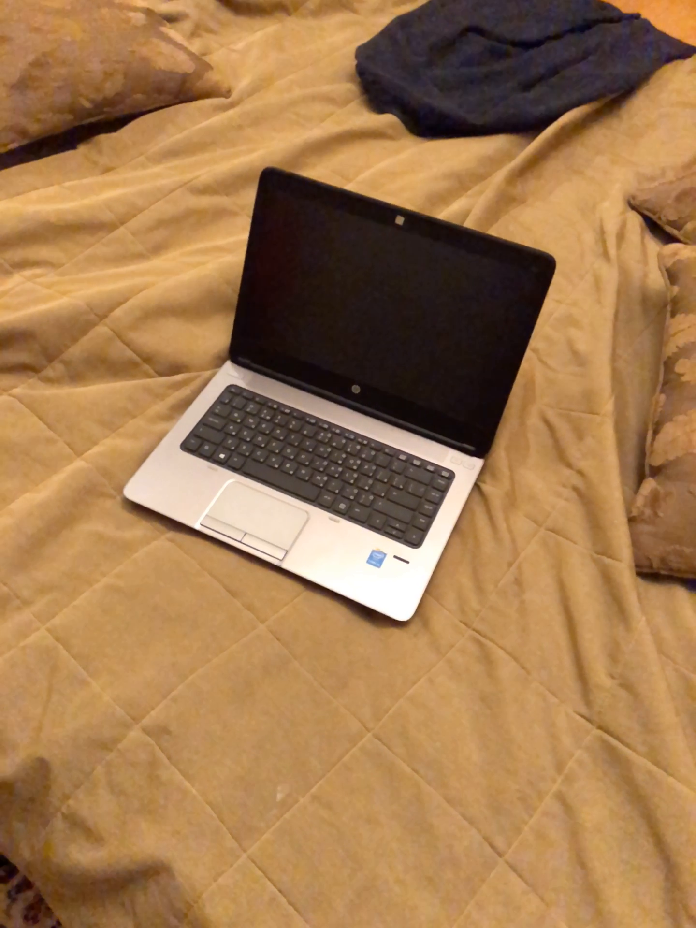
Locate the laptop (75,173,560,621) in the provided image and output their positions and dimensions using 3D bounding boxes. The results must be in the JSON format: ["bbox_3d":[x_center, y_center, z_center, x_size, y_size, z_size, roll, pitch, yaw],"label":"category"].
[{"bbox_3d":[-0.015,-0.084,0.790,0.332,0.189,0.340,22,57,14],"label":"laptop"}]
